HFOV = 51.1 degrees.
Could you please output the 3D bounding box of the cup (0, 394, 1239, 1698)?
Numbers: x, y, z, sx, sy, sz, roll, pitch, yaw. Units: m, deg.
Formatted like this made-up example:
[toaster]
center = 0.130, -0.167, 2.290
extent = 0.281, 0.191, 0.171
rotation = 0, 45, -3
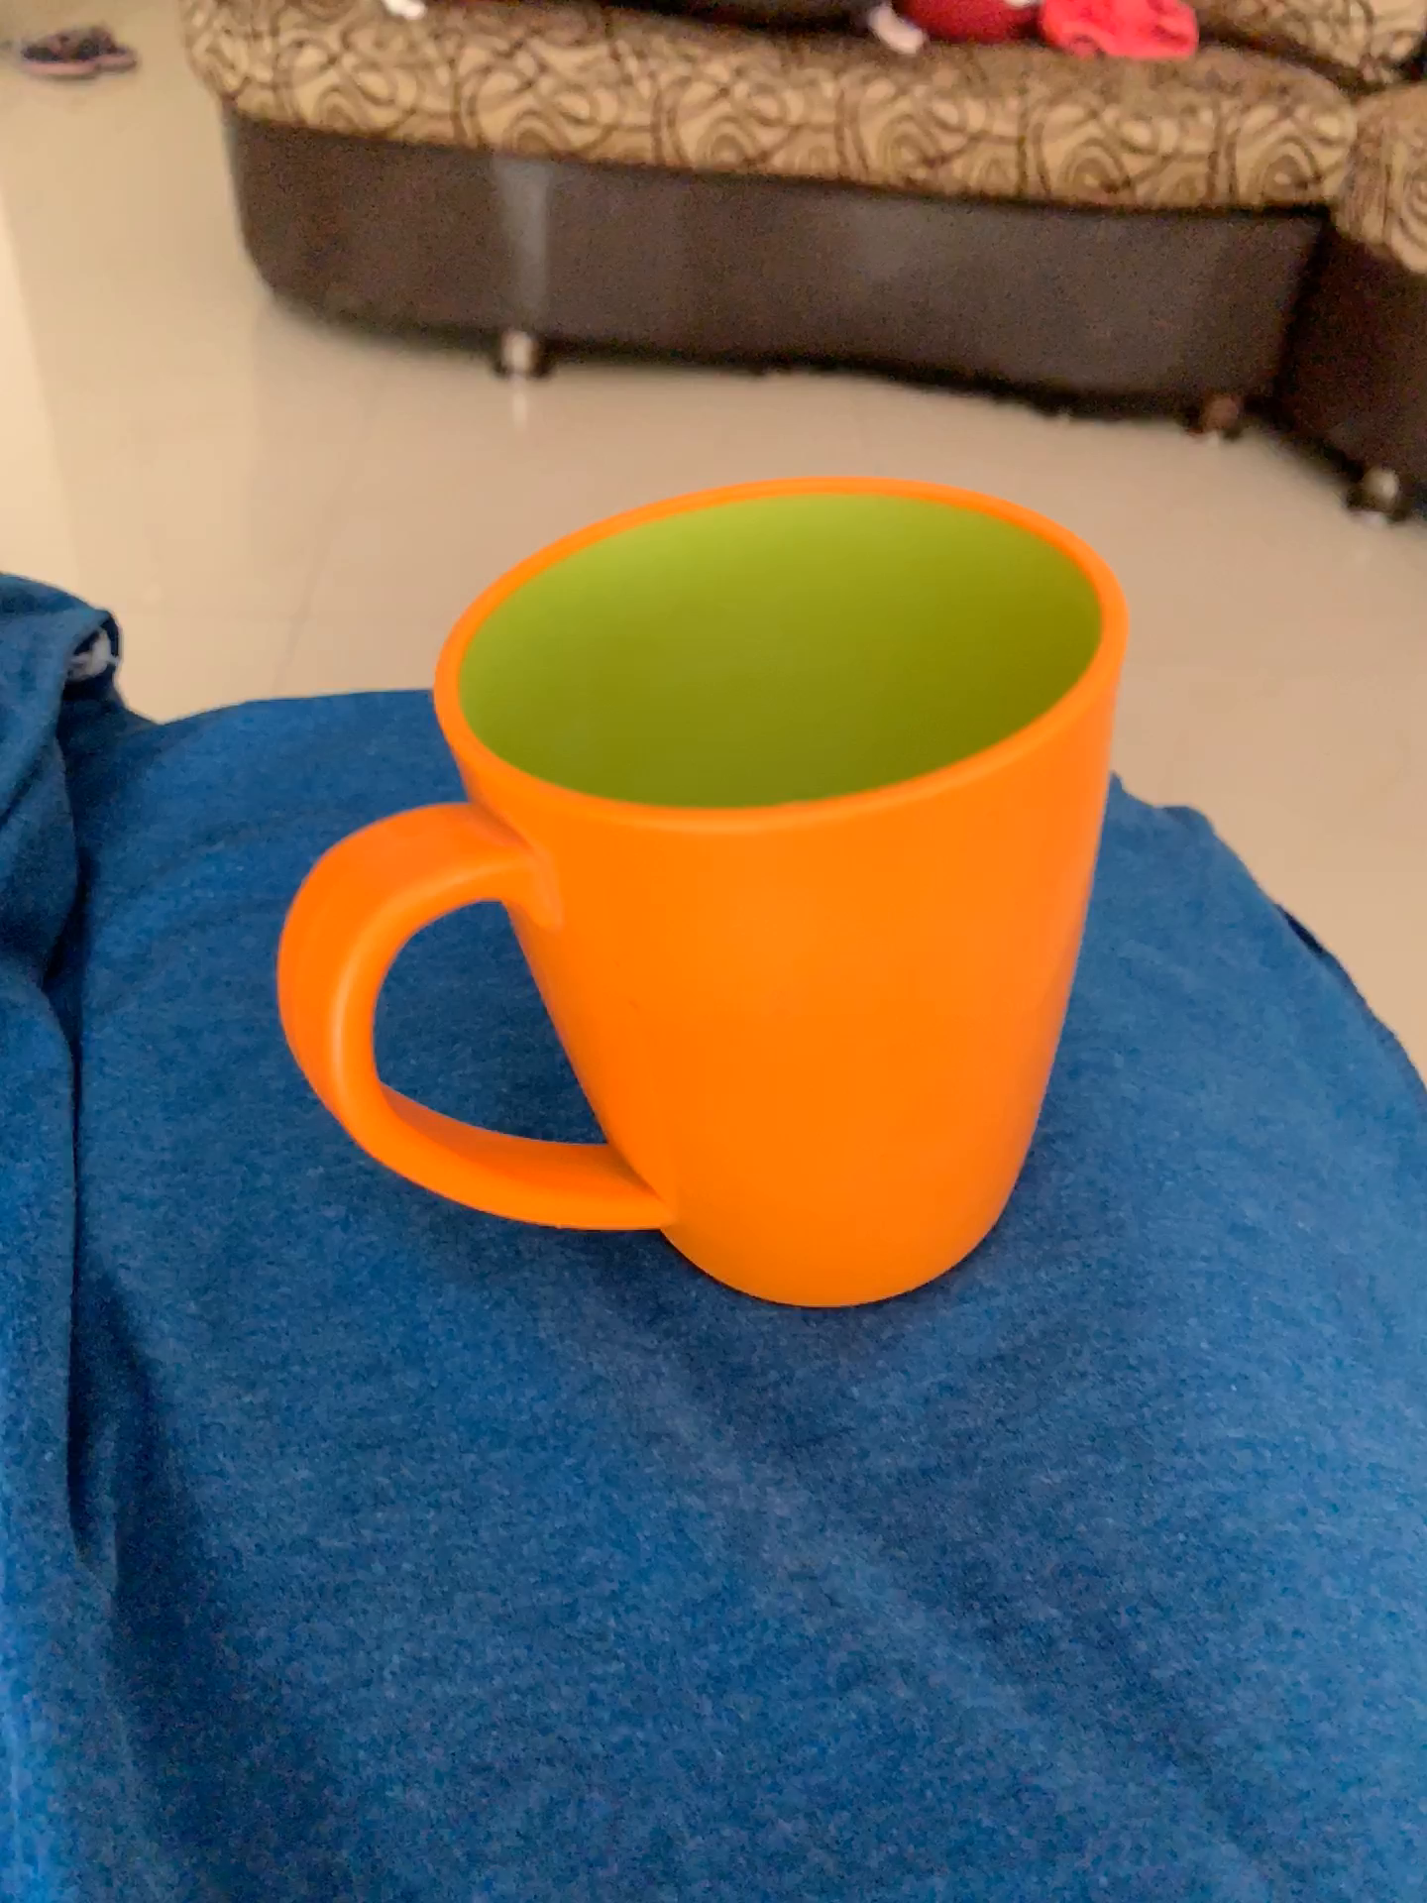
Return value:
[cup]
center = -0.006, -0.001, 0.198
extent = 0.100, 0.089, 0.121
rotation = 22, 52, 36
